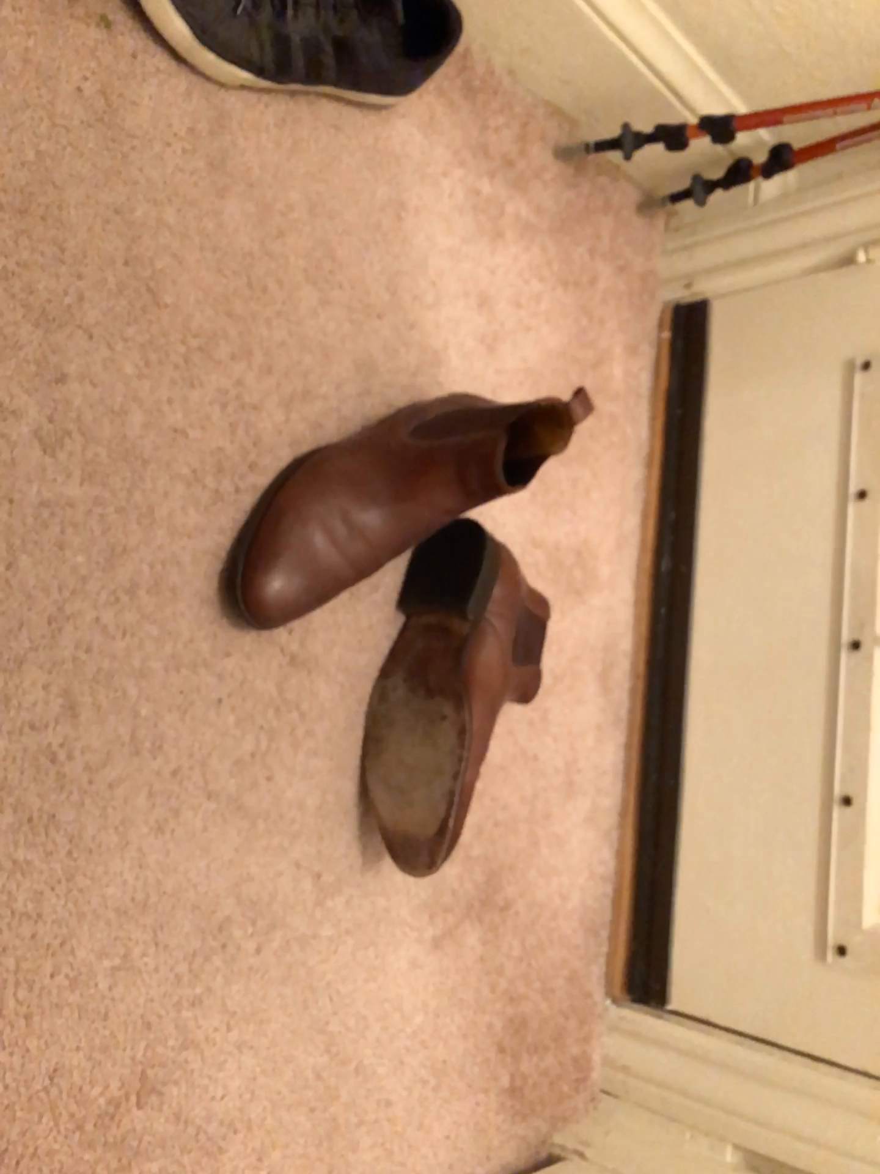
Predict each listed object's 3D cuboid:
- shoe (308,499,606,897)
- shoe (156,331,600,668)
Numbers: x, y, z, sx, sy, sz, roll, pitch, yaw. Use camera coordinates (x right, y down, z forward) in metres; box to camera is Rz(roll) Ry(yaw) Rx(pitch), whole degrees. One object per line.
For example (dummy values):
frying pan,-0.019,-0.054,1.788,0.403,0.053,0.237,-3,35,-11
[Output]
shoe,0.022,0.096,0.842,0.170,0.118,0.296,24,73,-44
shoe,-0.034,-0.072,0.741,0.298,0.158,0.109,-42,118,-38
